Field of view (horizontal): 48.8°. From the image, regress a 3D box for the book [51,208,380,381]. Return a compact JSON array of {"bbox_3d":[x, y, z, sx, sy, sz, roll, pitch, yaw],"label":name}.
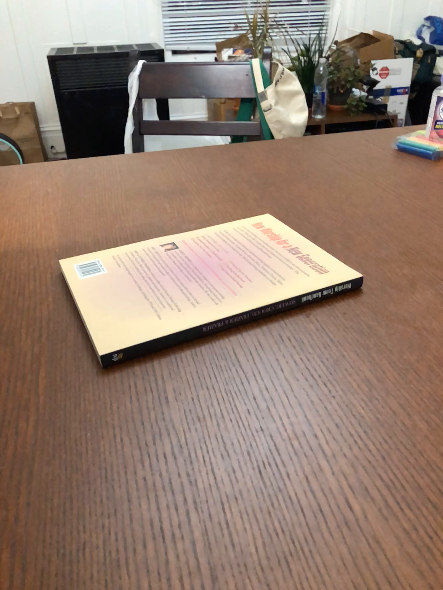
[{"bbox_3d":[-0.014,-0.021,0.487,0.270,0.020,0.191,-16,34,-21],"label":"book"}]
